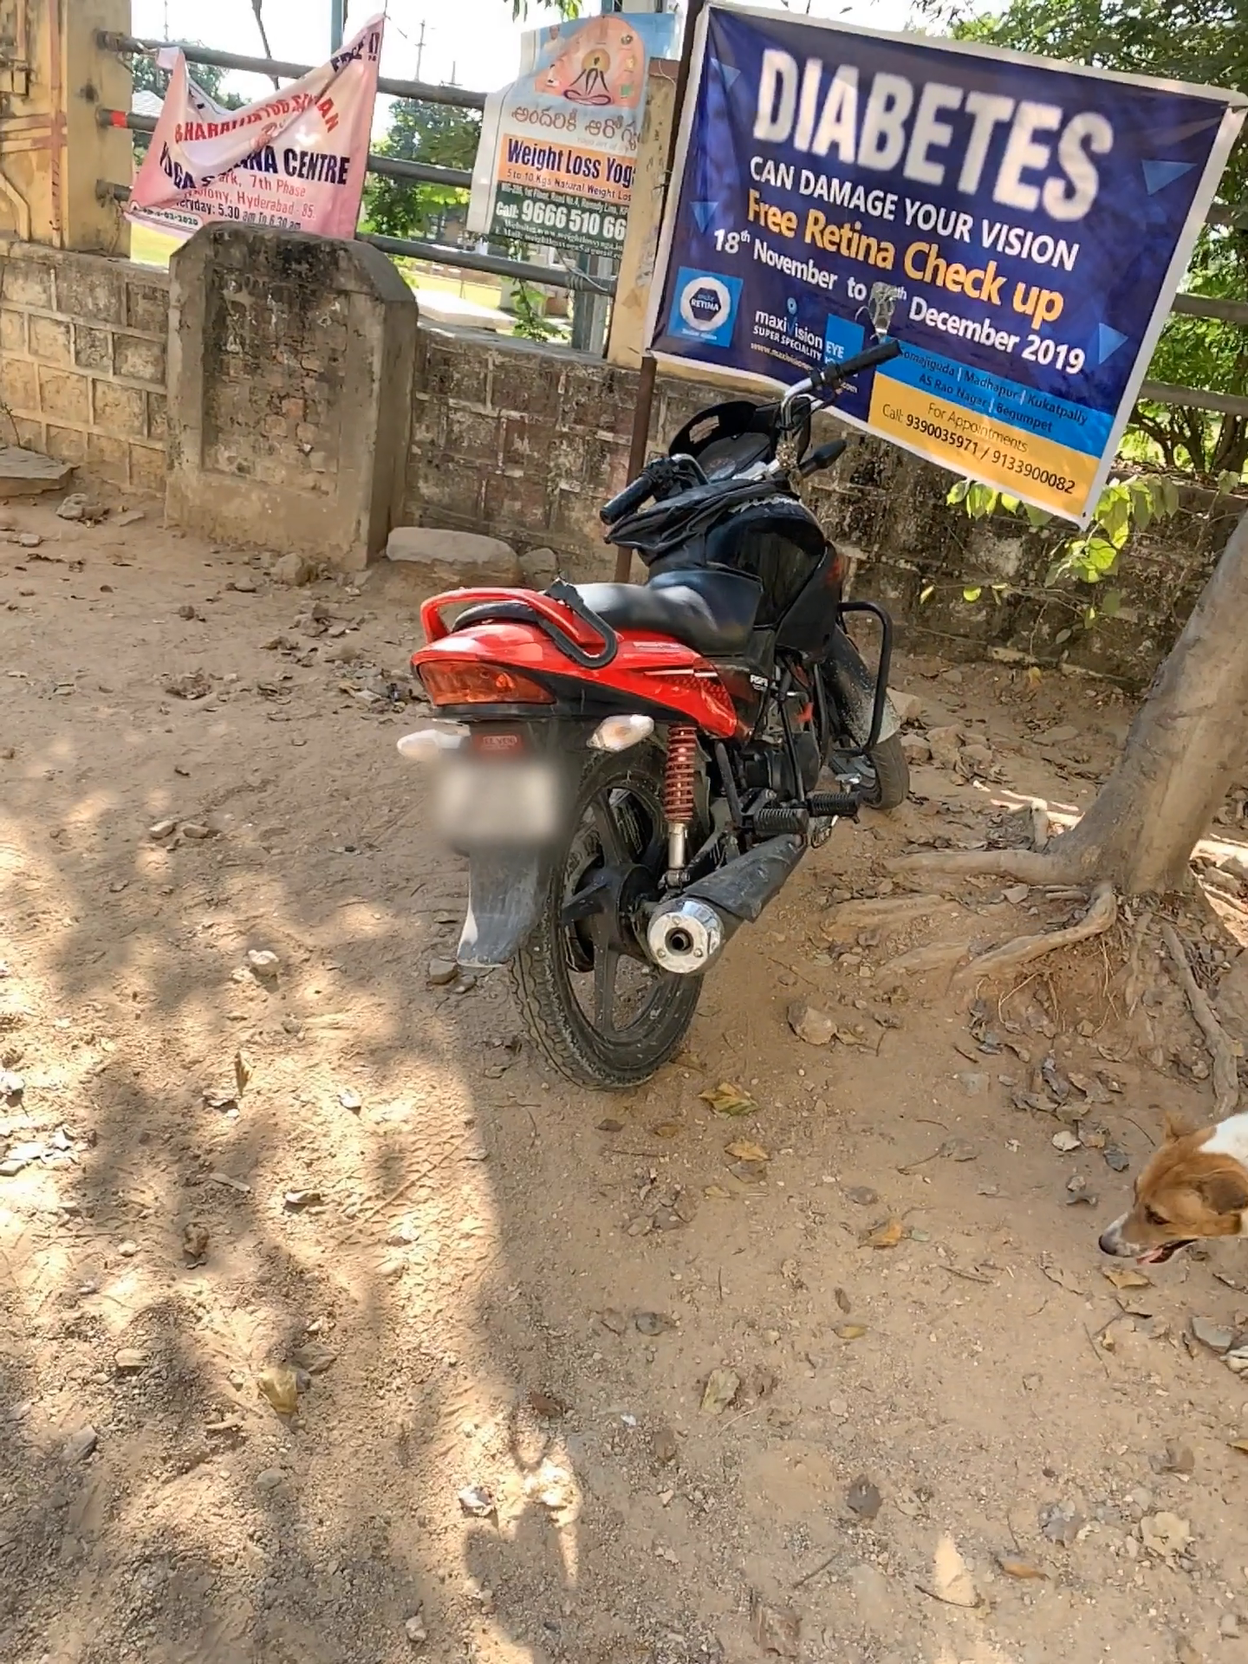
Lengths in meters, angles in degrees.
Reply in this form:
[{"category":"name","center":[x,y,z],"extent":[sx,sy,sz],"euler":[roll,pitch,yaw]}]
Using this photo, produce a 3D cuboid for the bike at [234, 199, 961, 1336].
[{"category":"bike","center":[0.031,-0.353,2.483],"extent":[0.752,1.442,1.623],"euler":[15,28,13]}]
